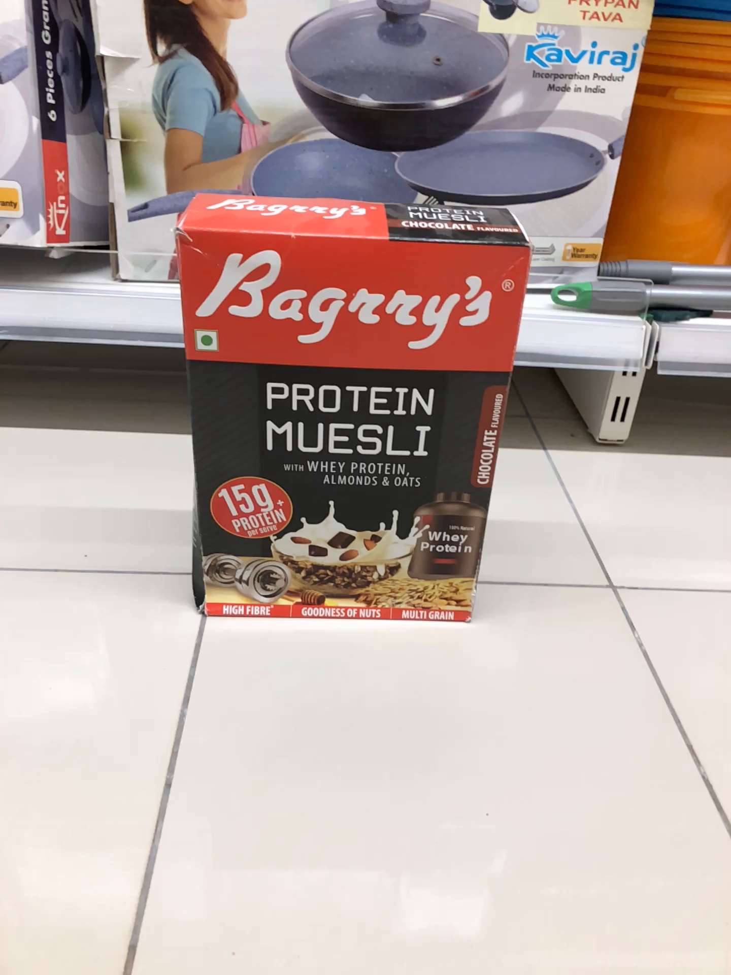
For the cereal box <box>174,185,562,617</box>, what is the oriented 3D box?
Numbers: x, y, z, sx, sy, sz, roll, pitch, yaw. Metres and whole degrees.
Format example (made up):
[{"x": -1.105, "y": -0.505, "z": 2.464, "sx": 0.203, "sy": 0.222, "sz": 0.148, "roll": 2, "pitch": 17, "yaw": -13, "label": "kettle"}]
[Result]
[{"x": -0.005, "y": -0.045, "z": 0.487, "sx": 0.190, "sy": 0.238, "sz": 0.081, "roll": 2, "pitch": 29, "yaw": -3, "label": "cereal box"}]
